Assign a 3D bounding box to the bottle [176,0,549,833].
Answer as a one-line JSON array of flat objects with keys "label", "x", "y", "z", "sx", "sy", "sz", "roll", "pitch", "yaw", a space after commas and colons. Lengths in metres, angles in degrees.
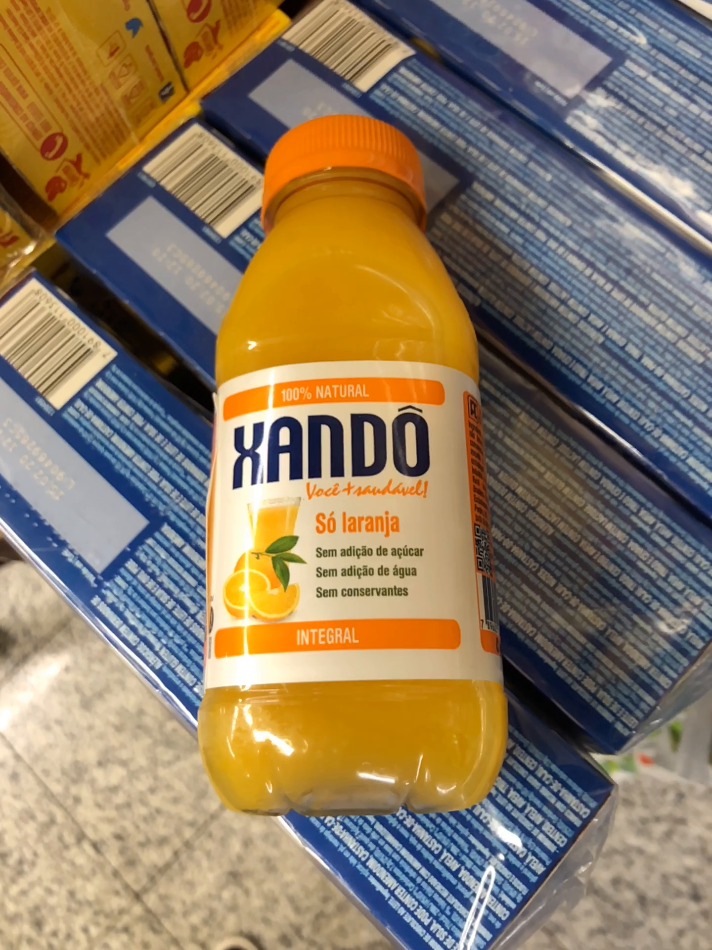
[{"label": "bottle", "x": 0.001, "y": -0.015, "z": 0.191, "sx": 0.060, "sy": 0.080, "sz": 0.170, "roll": -3, "pitch": 74, "yaw": 4}]
